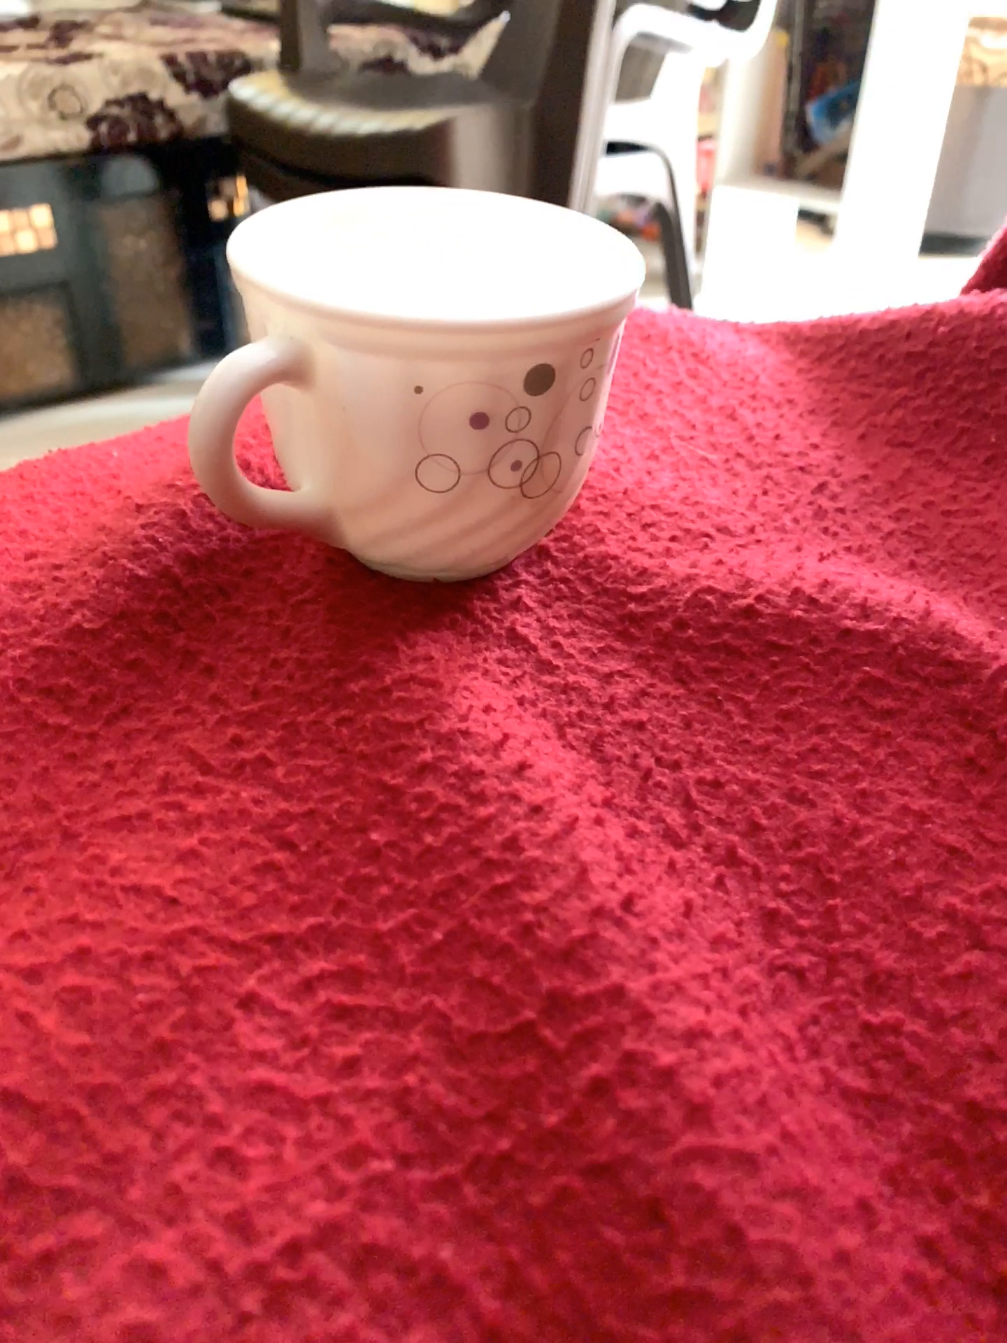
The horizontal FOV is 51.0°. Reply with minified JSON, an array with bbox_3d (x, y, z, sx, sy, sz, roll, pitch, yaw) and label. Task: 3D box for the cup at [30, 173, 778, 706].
[{"bbox_3d":[-0.014,-0.053,0.194,0.080,0.050,0.100,27,43,33],"label":"cup"}]
